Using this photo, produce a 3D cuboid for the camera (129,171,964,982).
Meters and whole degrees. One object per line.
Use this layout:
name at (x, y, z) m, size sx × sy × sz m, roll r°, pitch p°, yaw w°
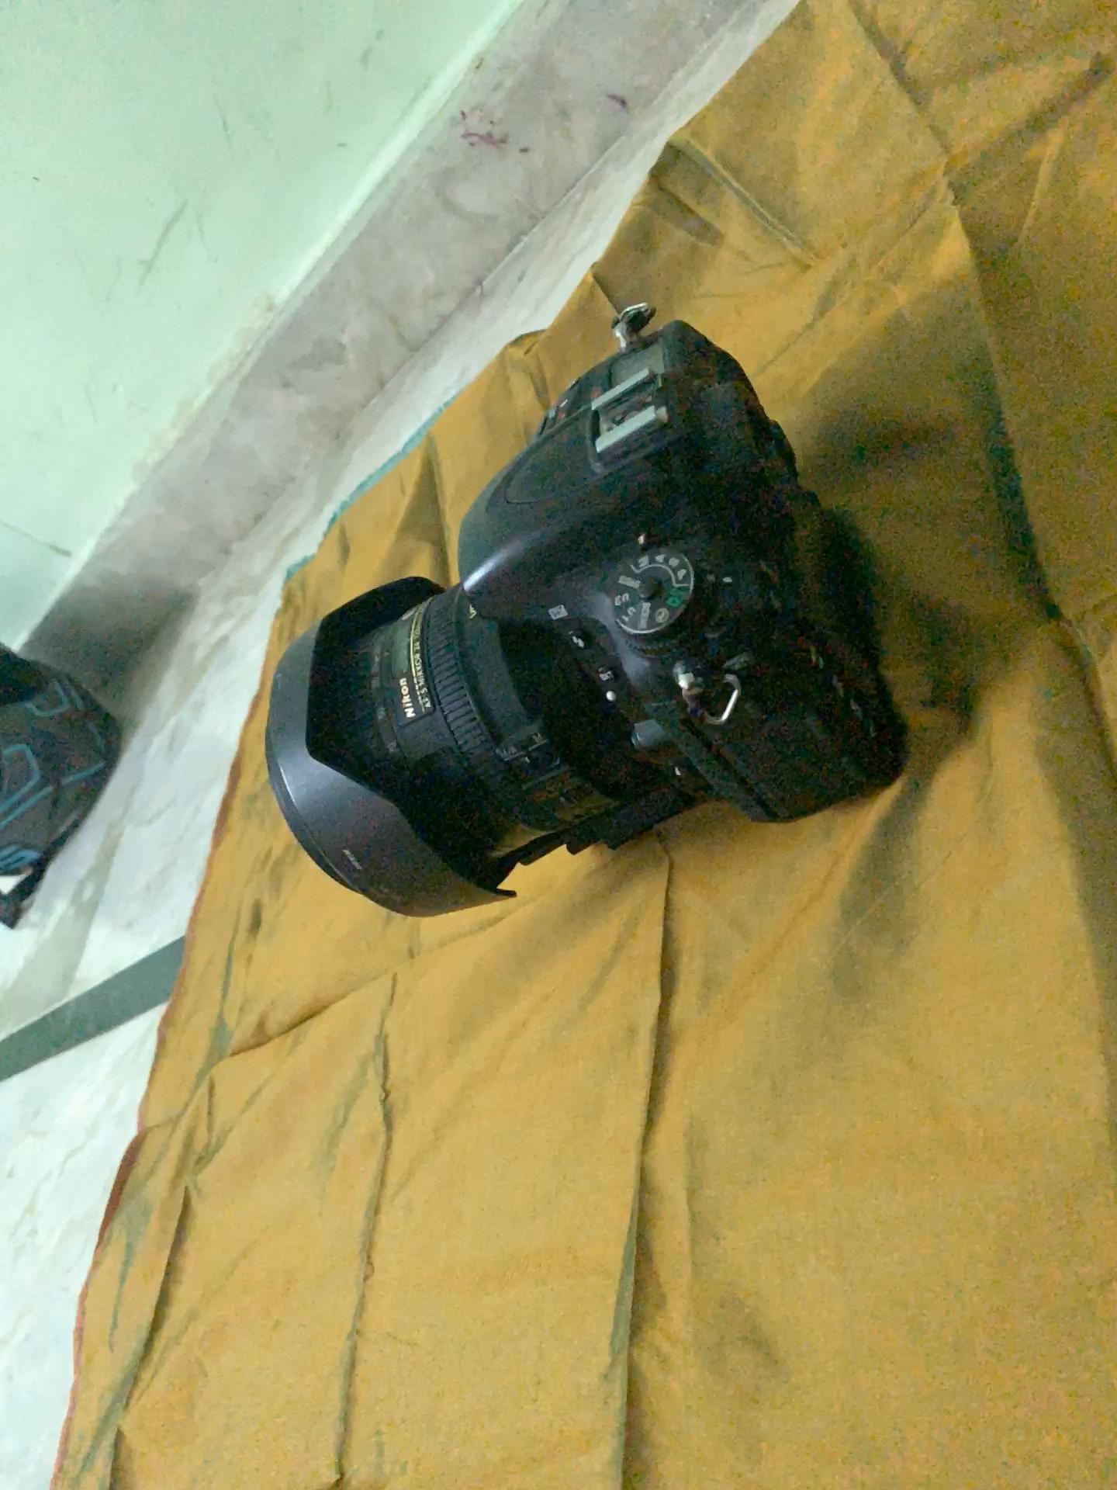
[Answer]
camera at (-0.007, -0.037, 0.337) m, size 0.193 × 0.099 × 0.140 m, roll -23°, pitch 46°, yaw 29°
